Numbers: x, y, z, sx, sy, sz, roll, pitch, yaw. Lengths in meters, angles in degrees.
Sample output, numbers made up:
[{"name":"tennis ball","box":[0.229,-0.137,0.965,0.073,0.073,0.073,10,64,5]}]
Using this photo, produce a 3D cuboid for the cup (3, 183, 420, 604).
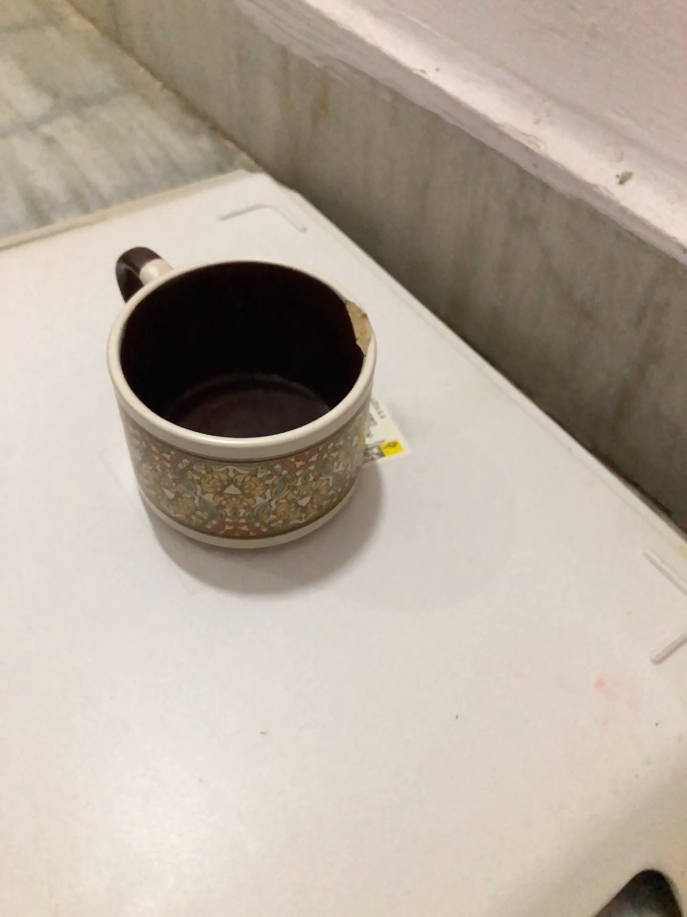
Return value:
[{"name":"cup","box":[-0.042,-0.026,0.245,0.080,0.060,0.100,-26,57,-24]}]
